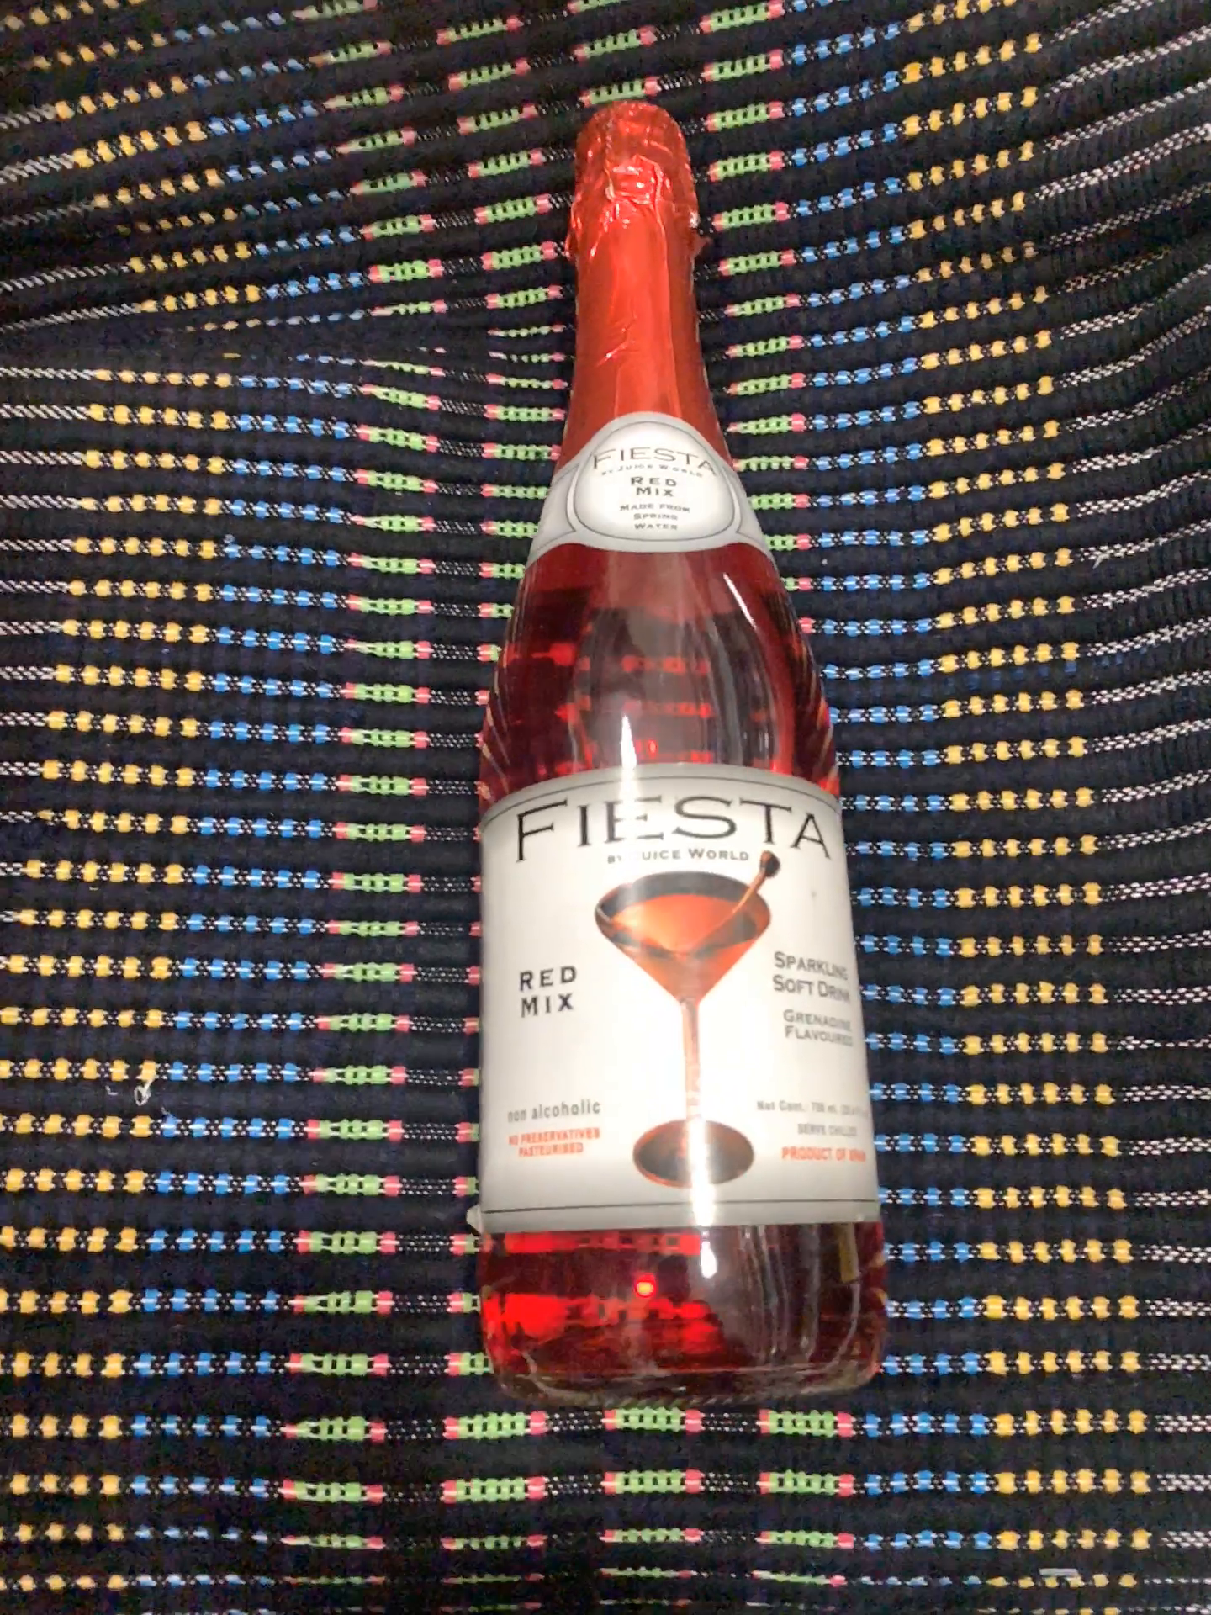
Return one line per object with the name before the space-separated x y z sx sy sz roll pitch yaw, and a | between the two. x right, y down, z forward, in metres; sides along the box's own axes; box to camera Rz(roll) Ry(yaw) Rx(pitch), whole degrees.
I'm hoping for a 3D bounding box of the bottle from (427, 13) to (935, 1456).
bottle | 0.006 -0.034 0.281 0.080 0.070 0.310 -2 70 -1
